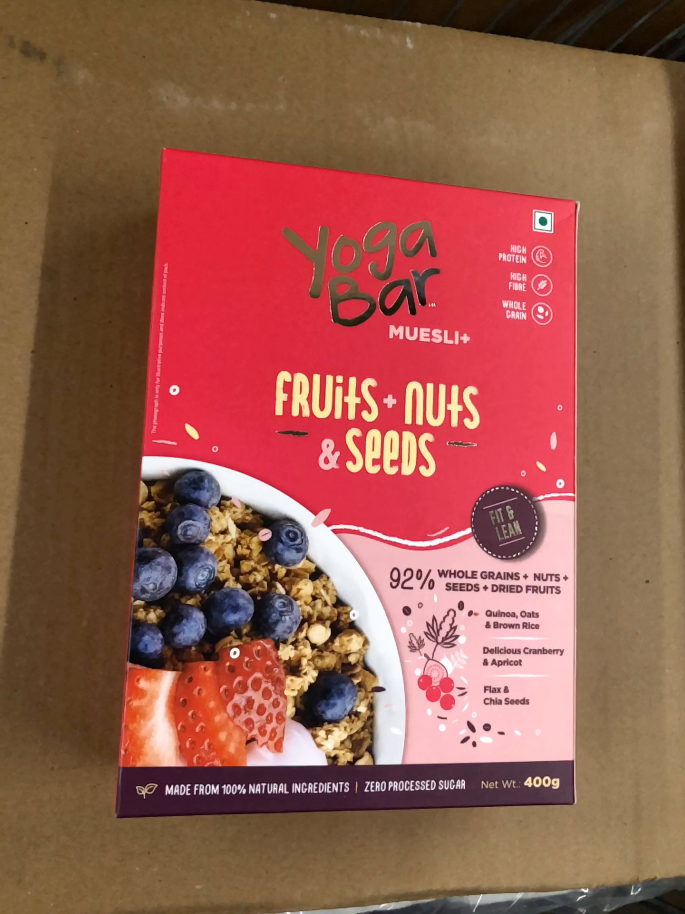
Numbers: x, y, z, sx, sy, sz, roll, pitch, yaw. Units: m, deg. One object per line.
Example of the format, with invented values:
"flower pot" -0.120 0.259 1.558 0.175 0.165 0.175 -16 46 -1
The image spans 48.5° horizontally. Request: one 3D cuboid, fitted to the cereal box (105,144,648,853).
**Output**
"cereal box" 0.014 0.015 0.272 0.170 0.060 0.210 4 84 -12
